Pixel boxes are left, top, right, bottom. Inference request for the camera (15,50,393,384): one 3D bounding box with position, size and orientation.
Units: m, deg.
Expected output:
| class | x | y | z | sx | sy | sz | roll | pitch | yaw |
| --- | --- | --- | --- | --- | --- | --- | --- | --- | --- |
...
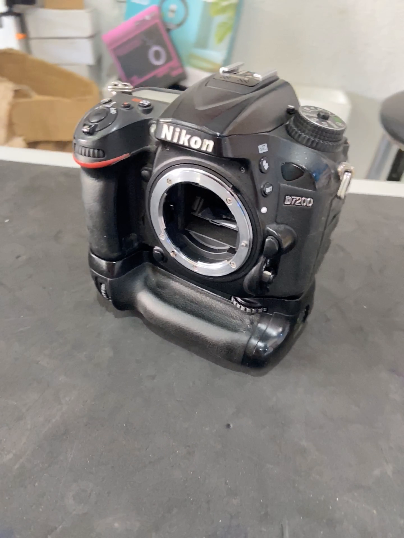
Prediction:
| class | x | y | z | sx | sy | sz | roll | pitch | yaw |
| --- | --- | --- | --- | --- | --- | --- | --- | --- | --- |
| camera | 0.003 | -0.039 | 0.224 | 0.140 | 0.109 | 0.101 | 21 | 41 | 23 |
